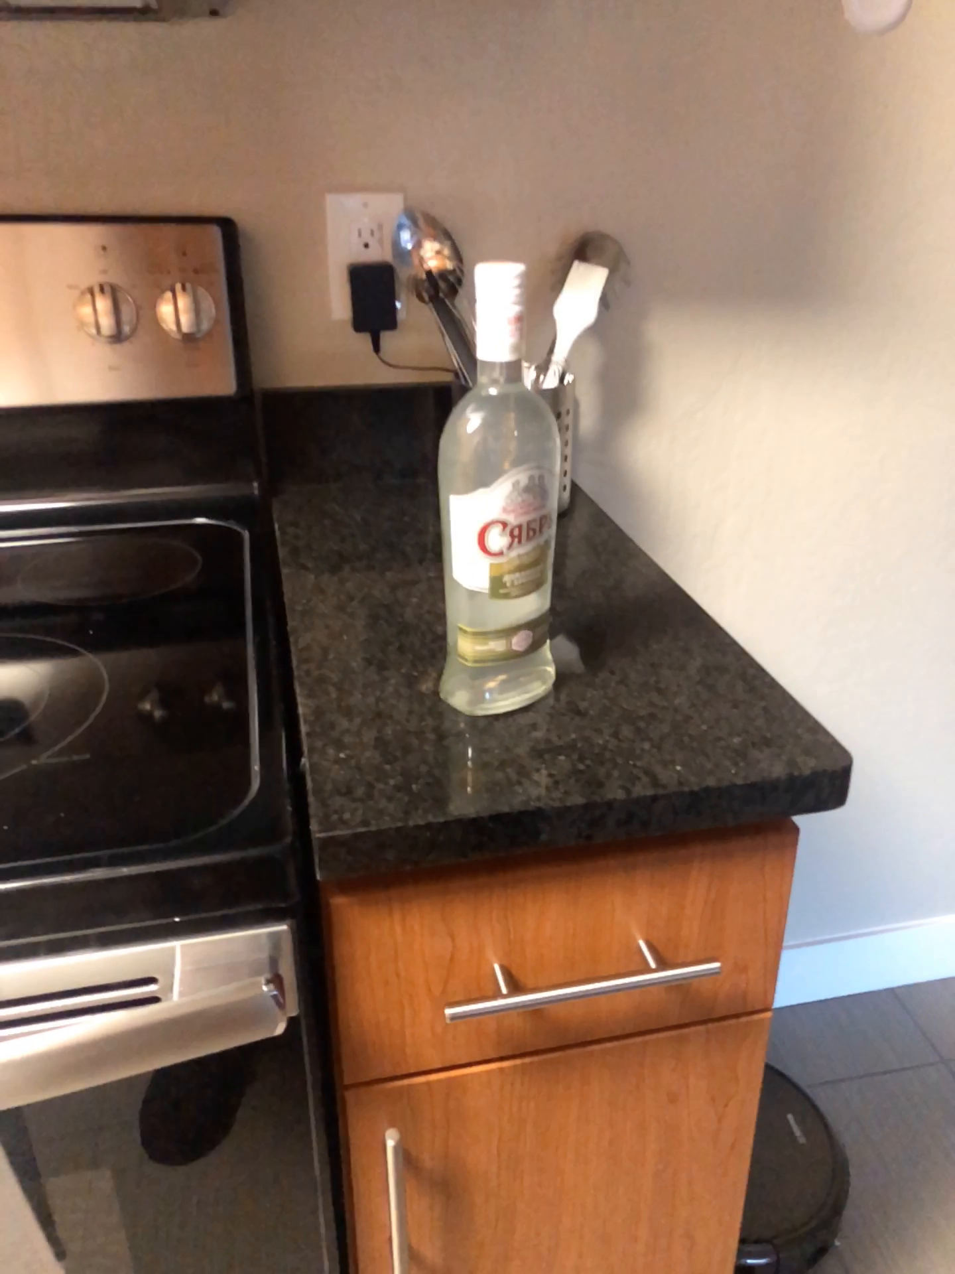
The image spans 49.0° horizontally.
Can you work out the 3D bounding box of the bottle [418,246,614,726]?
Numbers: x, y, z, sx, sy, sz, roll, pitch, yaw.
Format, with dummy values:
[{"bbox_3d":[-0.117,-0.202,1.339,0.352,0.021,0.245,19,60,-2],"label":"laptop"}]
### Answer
[{"bbox_3d":[0.021,-0.089,0.632,0.090,0.269,0.060,-15,29,-29],"label":"bottle"}]
